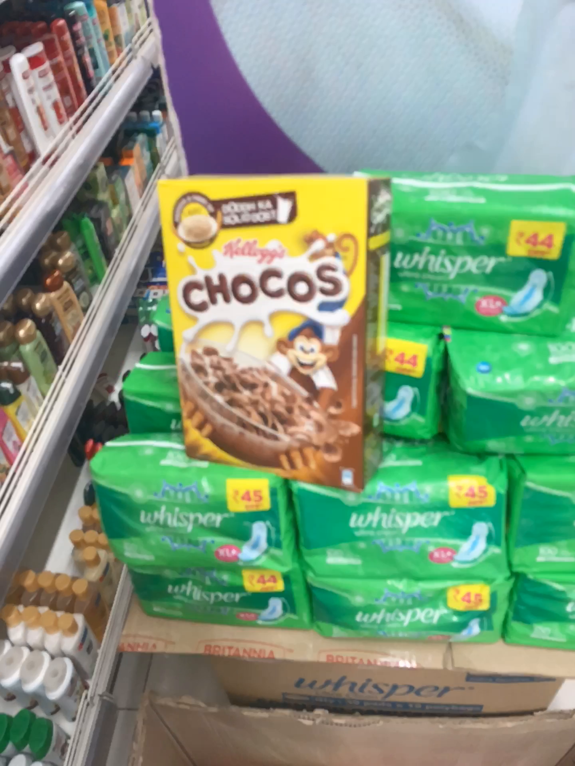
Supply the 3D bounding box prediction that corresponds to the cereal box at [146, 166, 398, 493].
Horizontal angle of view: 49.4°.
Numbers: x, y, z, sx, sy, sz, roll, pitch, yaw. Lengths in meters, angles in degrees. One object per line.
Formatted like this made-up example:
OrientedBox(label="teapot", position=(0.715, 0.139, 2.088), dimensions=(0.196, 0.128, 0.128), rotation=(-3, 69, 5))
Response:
OrientedBox(label="cereal box", position=(-0.010, -0.053, 0.557), dimensions=(0.190, 0.259, 0.080), rotation=(8, 22, 24))
